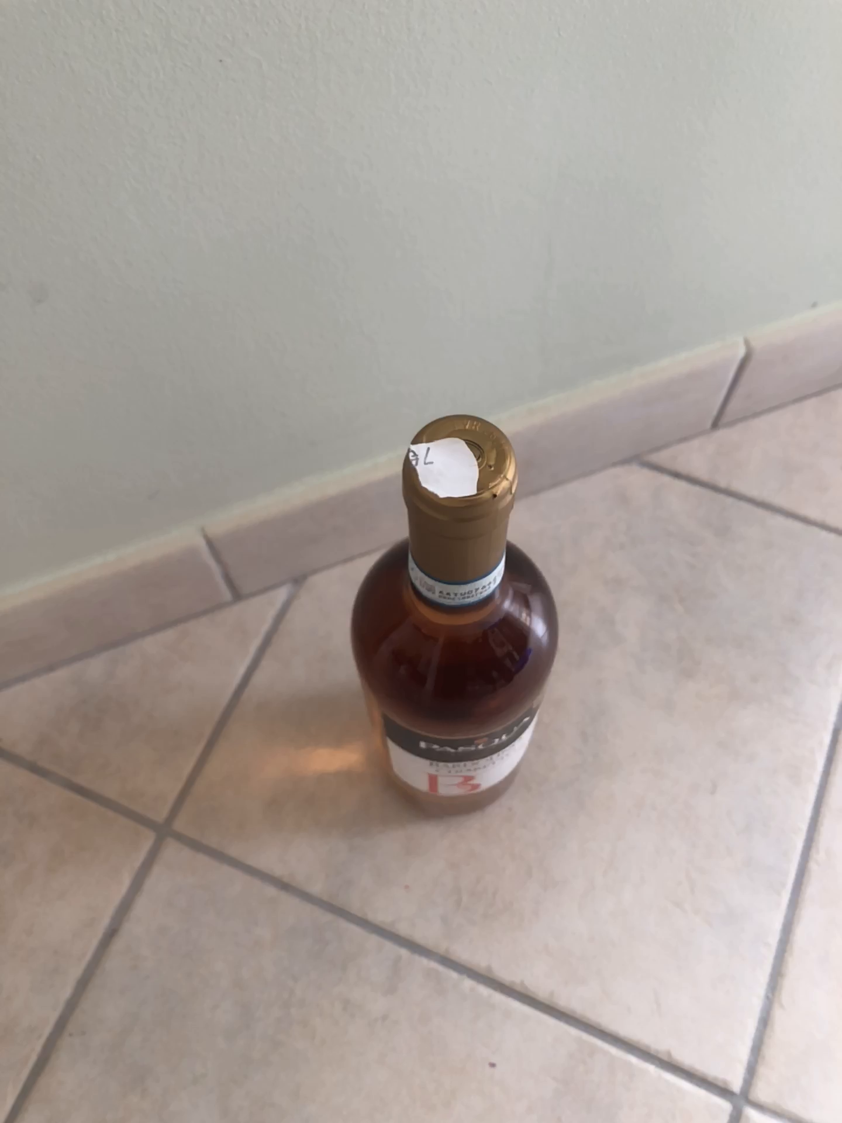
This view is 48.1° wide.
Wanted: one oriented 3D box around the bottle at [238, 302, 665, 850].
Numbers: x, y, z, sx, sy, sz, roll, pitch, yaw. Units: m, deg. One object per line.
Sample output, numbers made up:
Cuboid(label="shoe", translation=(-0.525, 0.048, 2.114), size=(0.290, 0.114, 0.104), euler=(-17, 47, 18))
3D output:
Cuboid(label="bottle", translation=(0.007, 0.035, 0.339), size=(0.080, 0.269, 0.080), euler=(0, 66, 1))
